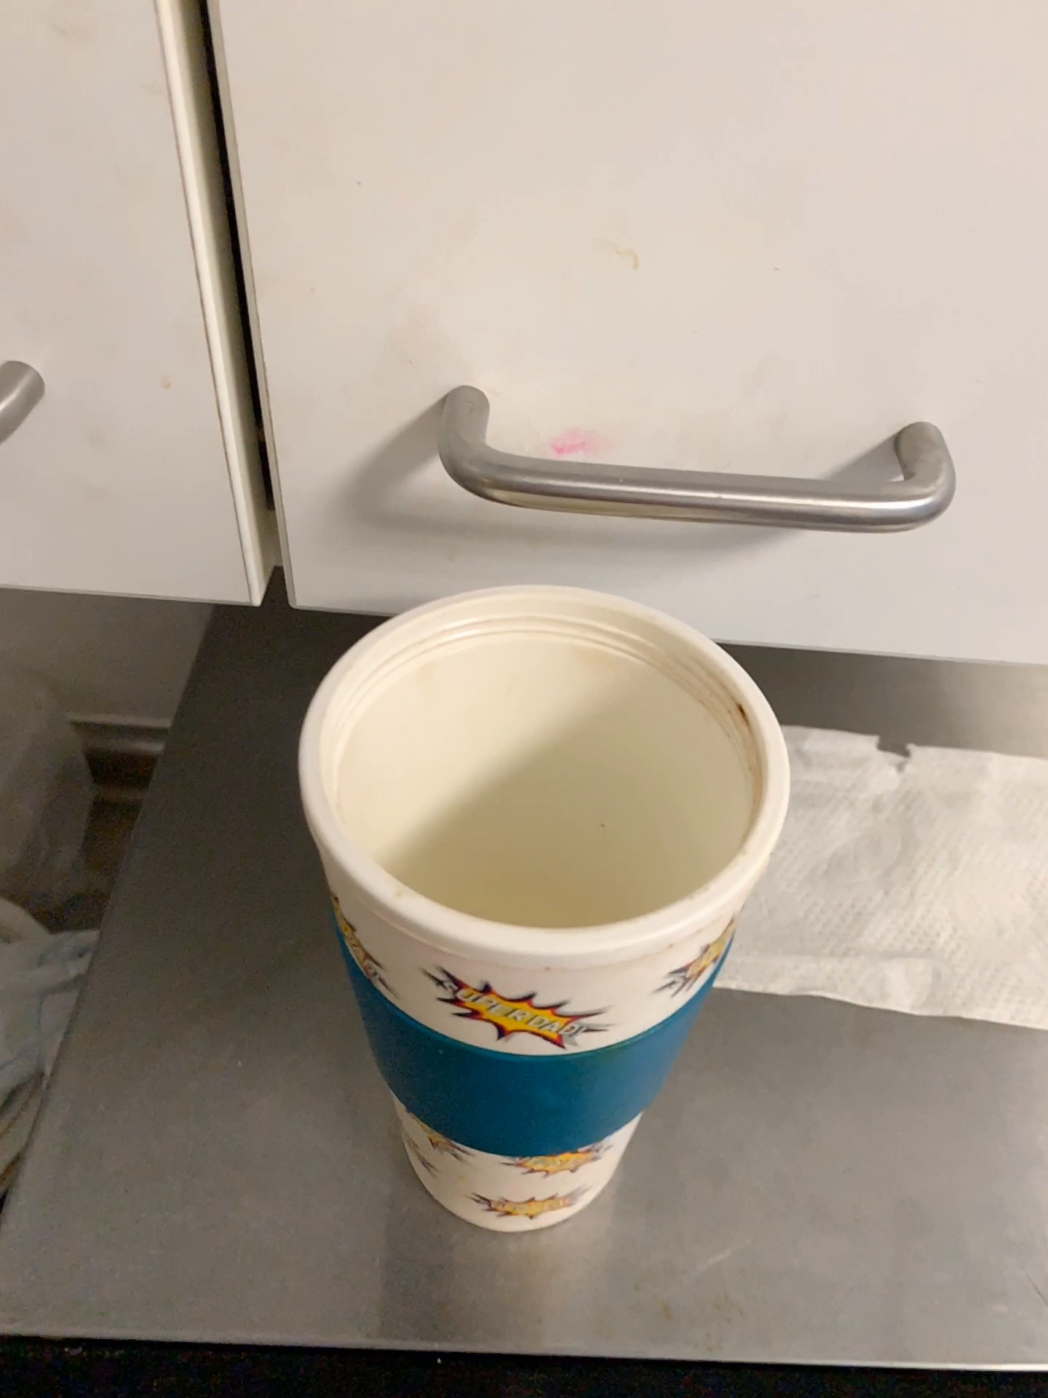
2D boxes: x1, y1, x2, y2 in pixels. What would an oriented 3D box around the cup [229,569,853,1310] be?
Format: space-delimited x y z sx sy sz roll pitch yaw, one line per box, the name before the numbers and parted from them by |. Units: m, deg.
cup | -0.001 0.060 0.246 0.092 0.146 0.097 2 43 -2
